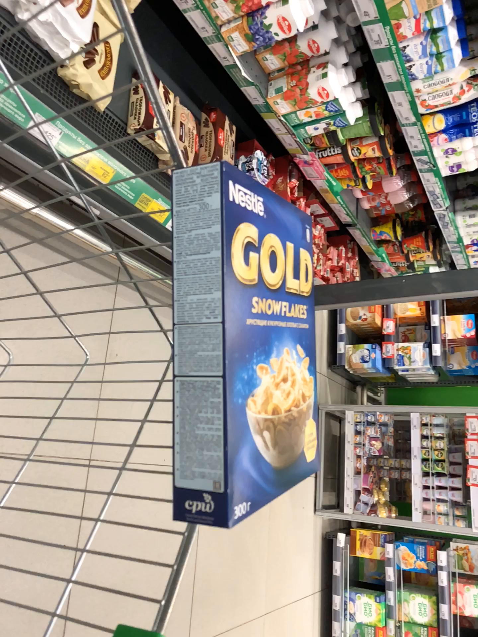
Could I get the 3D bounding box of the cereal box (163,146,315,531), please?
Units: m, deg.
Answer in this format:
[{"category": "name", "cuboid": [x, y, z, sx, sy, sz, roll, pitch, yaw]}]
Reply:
[{"category": "cereal box", "cuboid": [0.010, 0.017, 0.467, 0.201, 0.050, 0.270, 7, 81, -66]}]
